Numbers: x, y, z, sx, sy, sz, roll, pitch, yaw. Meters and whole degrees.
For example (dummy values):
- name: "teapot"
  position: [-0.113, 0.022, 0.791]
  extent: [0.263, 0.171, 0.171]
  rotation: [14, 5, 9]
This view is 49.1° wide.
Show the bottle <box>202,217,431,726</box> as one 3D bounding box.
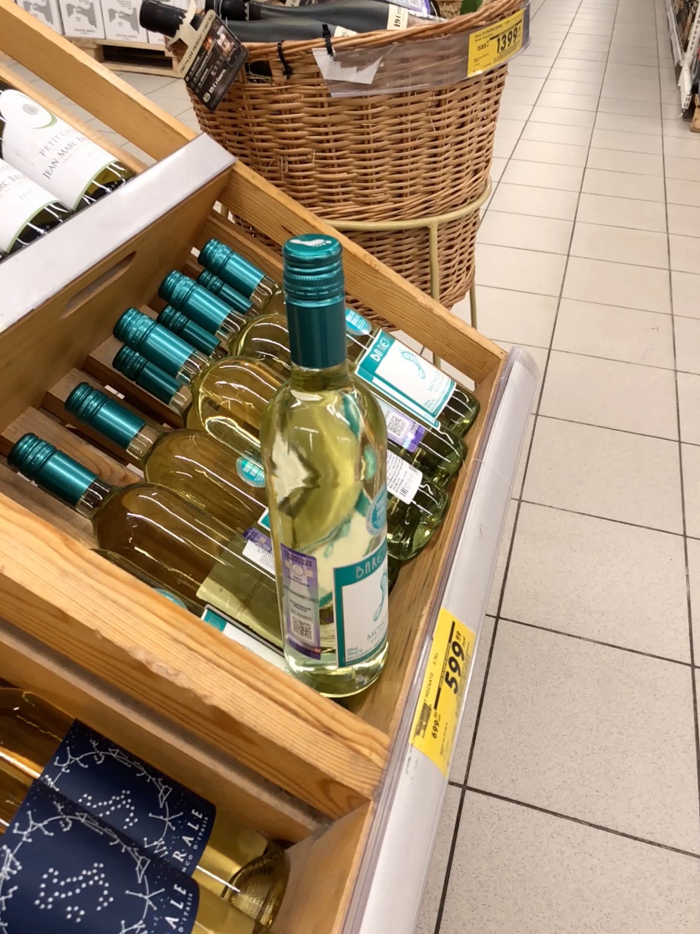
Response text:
- name: "bottle"
  position: [-0.008, 0.017, 0.444]
  extent: [0.080, 0.288, 0.080]
  rotation: [-2, 36, 1]
